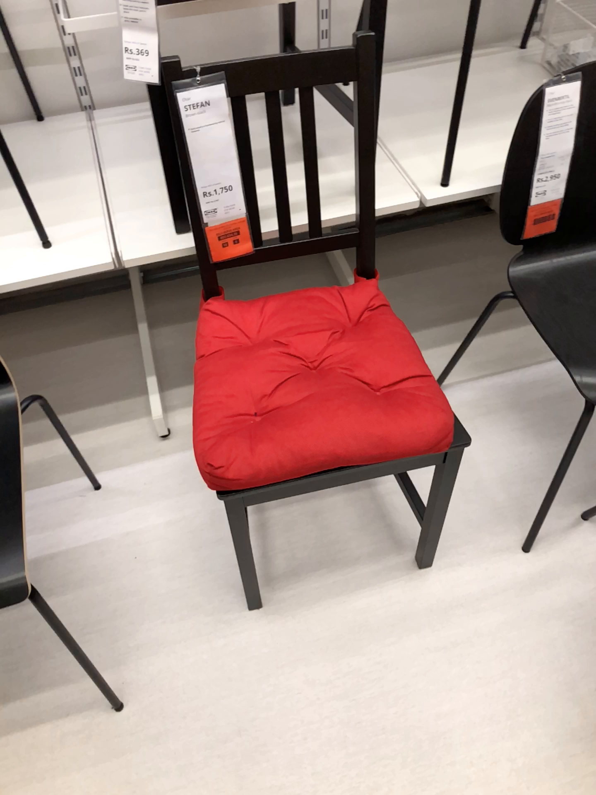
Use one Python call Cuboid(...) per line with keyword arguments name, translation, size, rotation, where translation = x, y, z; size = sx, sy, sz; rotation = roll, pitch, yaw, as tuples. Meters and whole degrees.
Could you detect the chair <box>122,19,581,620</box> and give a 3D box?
Cuboid(name="chair", translation=(0.034, -0.069, 1.104), size=(0.430, 0.835, 0.483), rotation=(-12, 50, -7))
